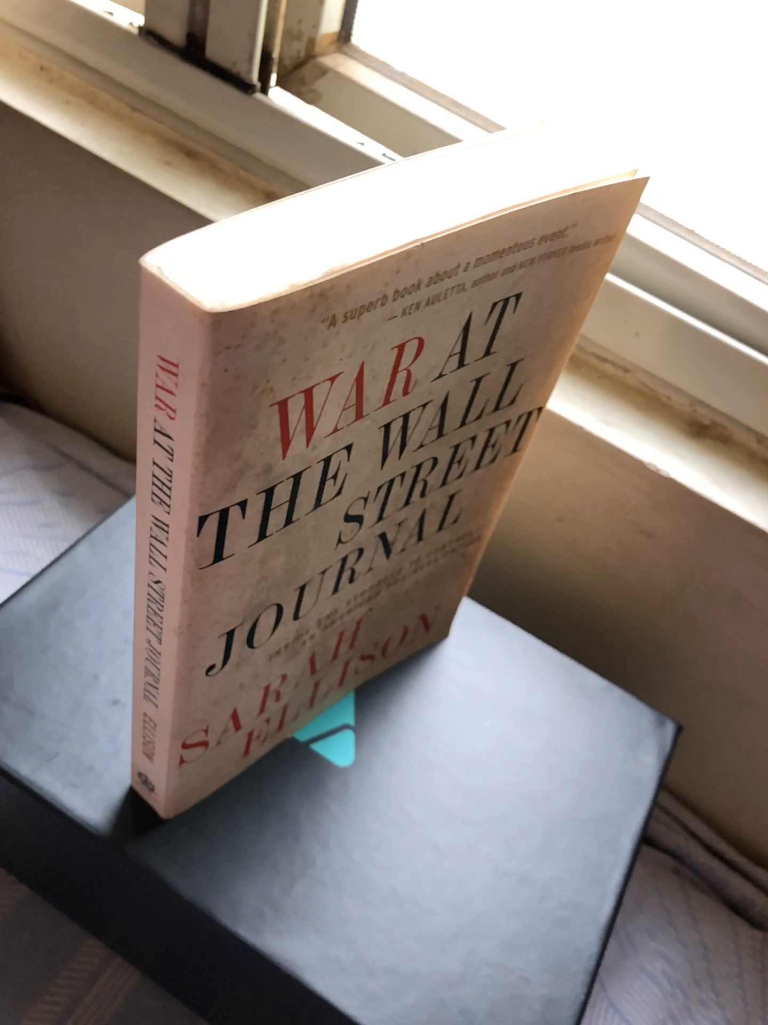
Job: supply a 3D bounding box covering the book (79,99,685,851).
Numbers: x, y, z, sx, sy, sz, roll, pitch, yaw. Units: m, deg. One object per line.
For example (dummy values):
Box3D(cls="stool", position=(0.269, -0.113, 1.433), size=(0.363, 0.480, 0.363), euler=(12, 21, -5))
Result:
Box3D(cls="book", position=(-0.009, -0.003, 0.247), size=(0.151, 0.199, 0.030), euler=(-29, 61, -38))
